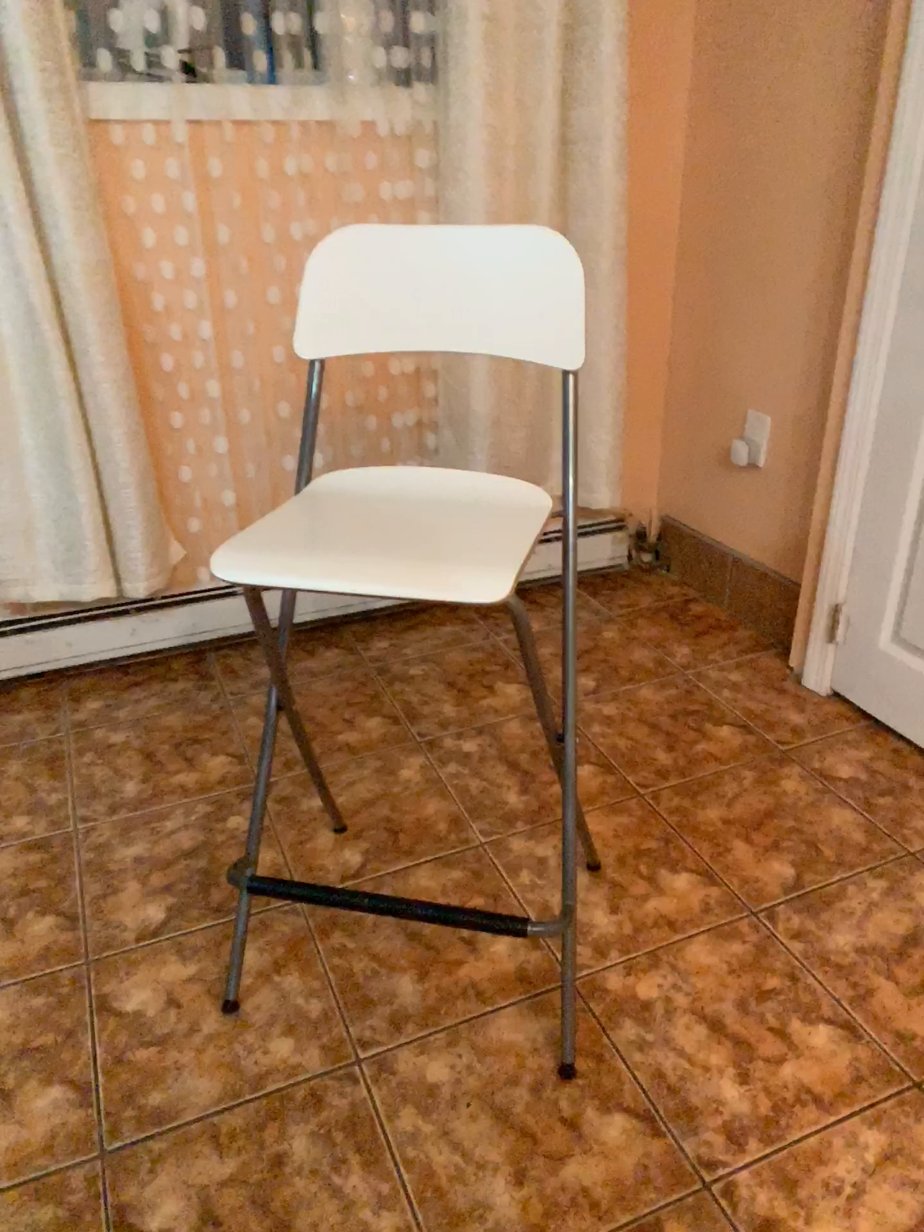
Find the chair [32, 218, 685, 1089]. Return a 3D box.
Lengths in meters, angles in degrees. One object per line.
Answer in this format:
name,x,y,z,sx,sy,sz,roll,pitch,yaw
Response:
chair,-0.065,0.021,1.288,0.598,1.007,0.545,5,26,9
